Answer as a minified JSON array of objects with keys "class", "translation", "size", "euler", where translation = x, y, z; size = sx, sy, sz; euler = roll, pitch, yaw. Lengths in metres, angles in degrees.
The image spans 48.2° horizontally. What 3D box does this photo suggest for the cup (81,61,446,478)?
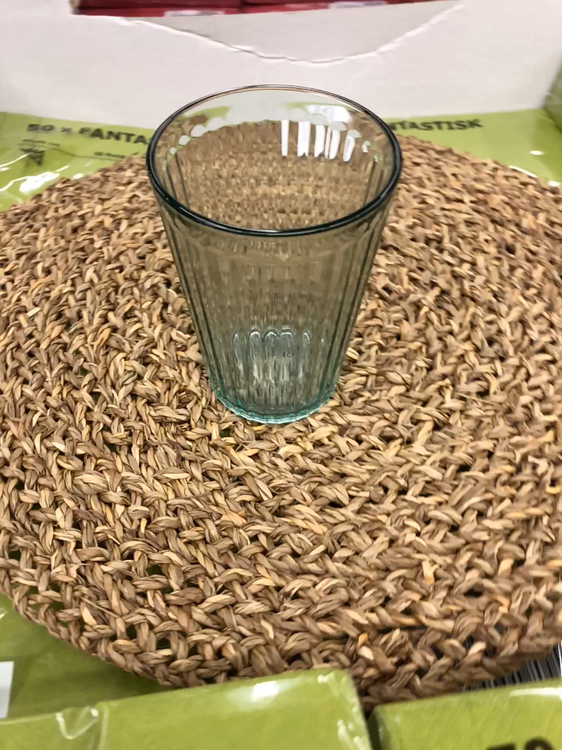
[{"class":"cup","translation":[-0.008,-0.037,0.223],"size":[0.080,0.100,0.080],"euler":[0,49,0]}]
